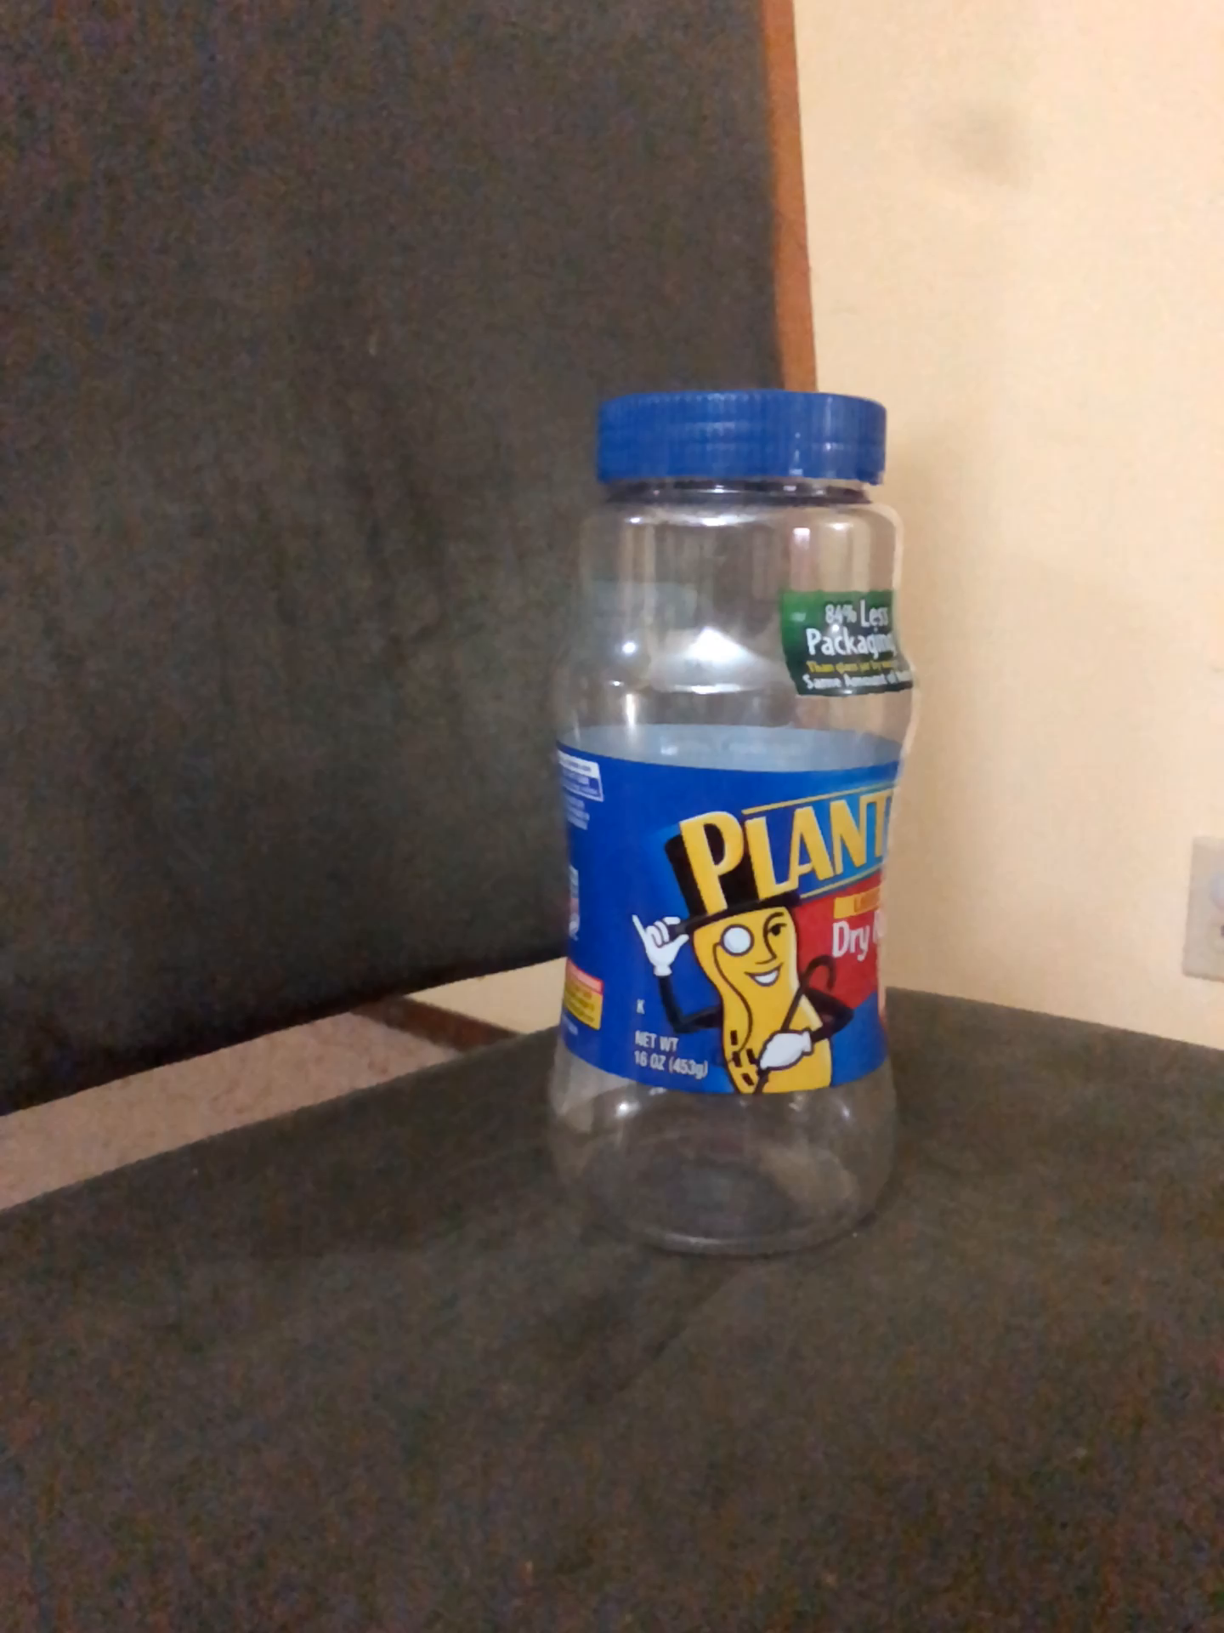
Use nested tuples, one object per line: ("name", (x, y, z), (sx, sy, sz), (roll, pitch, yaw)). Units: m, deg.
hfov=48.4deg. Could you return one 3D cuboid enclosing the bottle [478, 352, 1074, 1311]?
("bottle", (0.032, -0.003, 0.295), (0.090, 0.170, 0.080), (-8, 15, -40))
